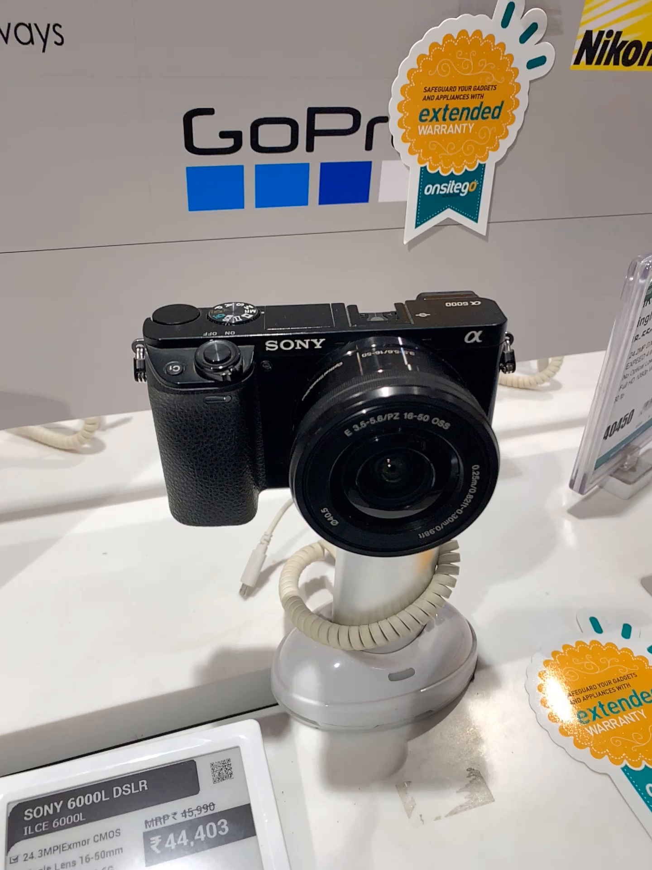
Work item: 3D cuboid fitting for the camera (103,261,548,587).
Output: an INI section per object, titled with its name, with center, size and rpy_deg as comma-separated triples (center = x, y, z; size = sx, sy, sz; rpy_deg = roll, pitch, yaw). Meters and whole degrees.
[camera]
center = -0.003, -0.005, 0.224
size = 0.120, 0.090, 0.050
rpy_deg = -3, 34, -8
